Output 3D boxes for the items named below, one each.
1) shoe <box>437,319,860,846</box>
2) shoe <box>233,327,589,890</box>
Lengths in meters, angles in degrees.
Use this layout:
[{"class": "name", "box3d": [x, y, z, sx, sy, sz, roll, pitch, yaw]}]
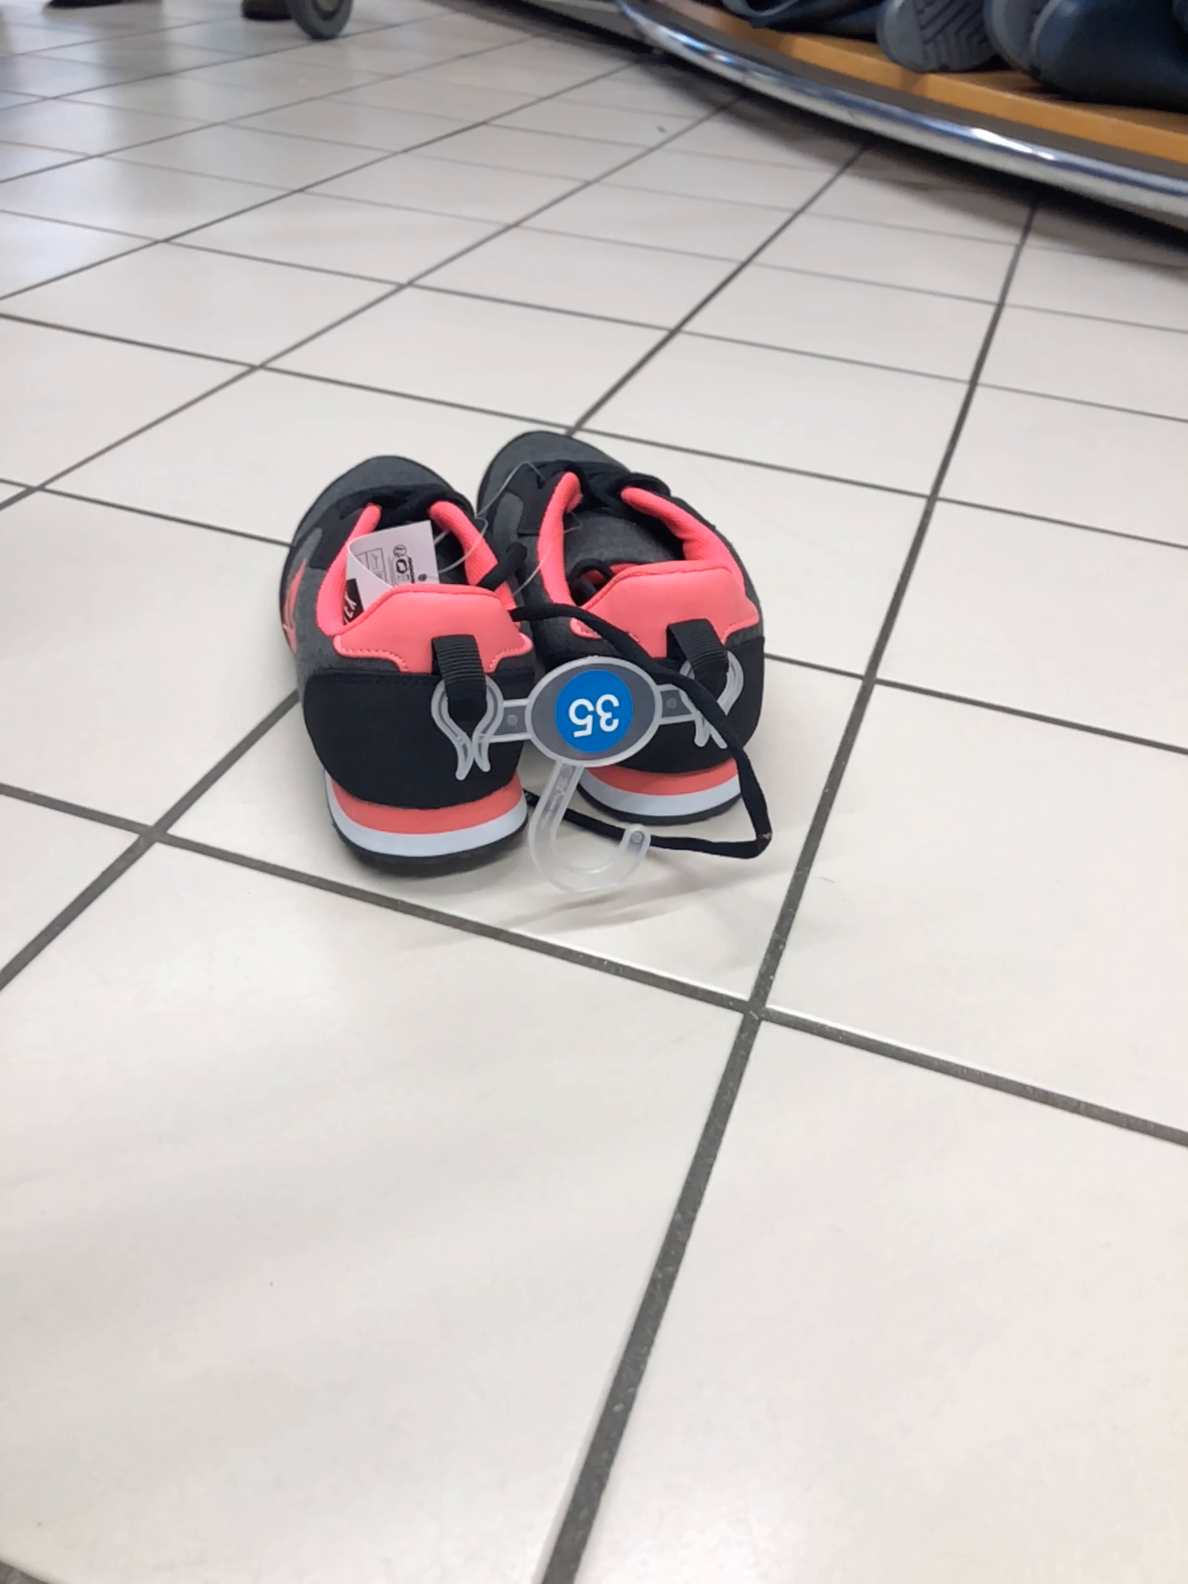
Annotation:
[{"class": "shoe", "box3d": [0.004, -0.092, 0.489, 0.090, 0.099, 0.221, -6, 37, -14]}, {"class": "shoe", "box3d": [-0.074, -0.079, 0.462, 0.090, 0.099, 0.221, -5, 37, -13]}]
